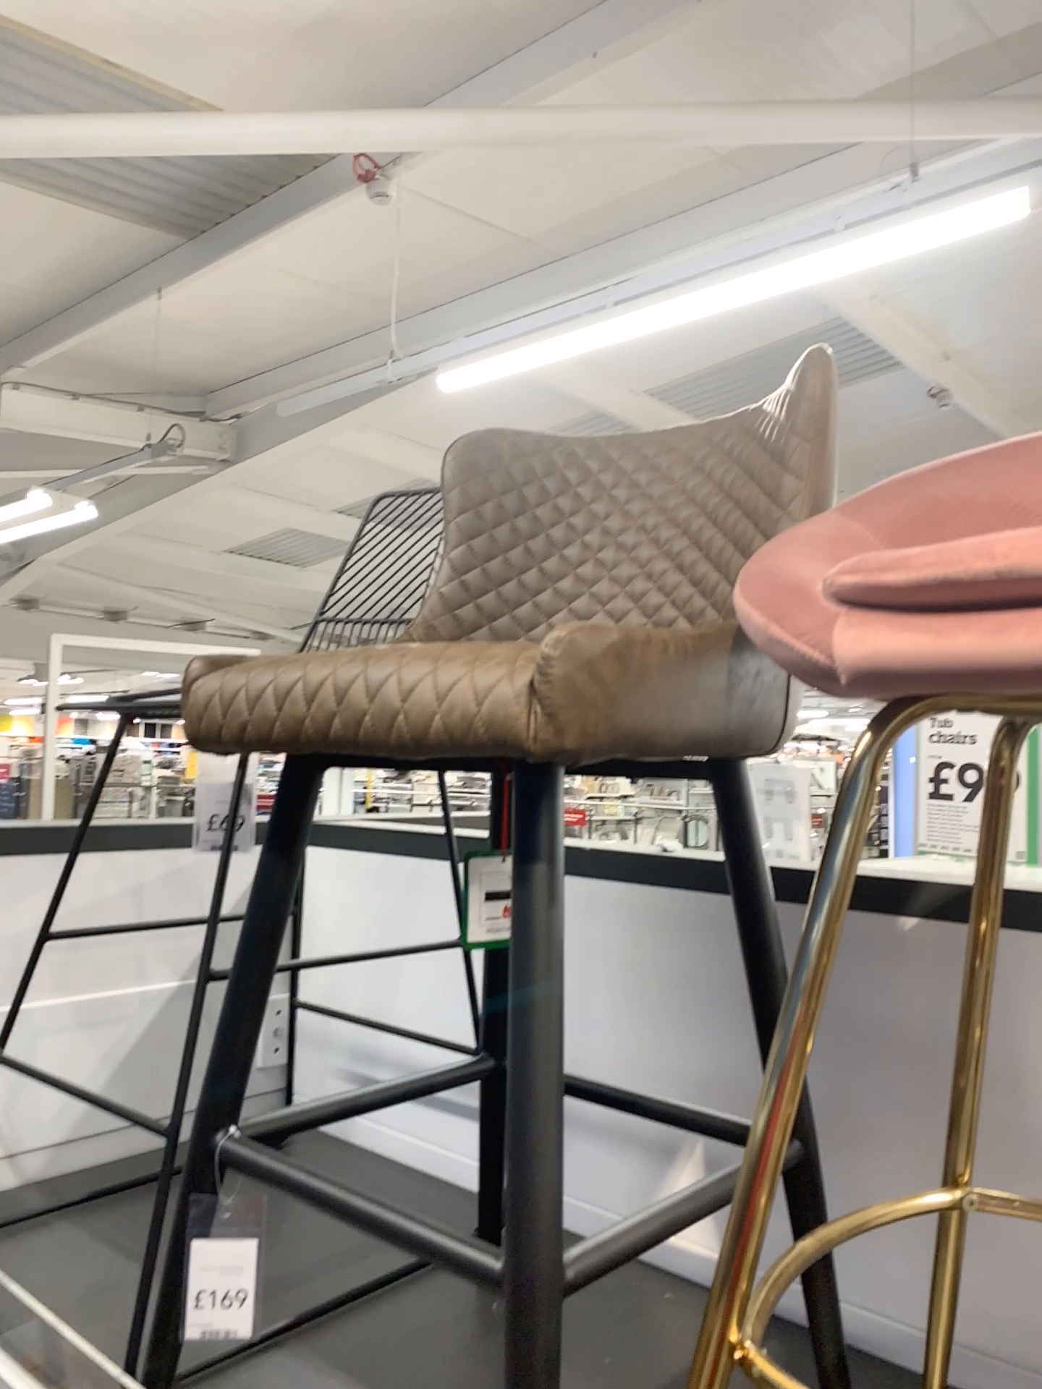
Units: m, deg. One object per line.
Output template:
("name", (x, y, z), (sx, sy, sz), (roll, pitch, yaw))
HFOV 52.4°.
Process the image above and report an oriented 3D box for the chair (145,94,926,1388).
("chair", (0.026, 0.133, 0.979), (0.535, 0.997, 0.465), (-2, -3, 35))
